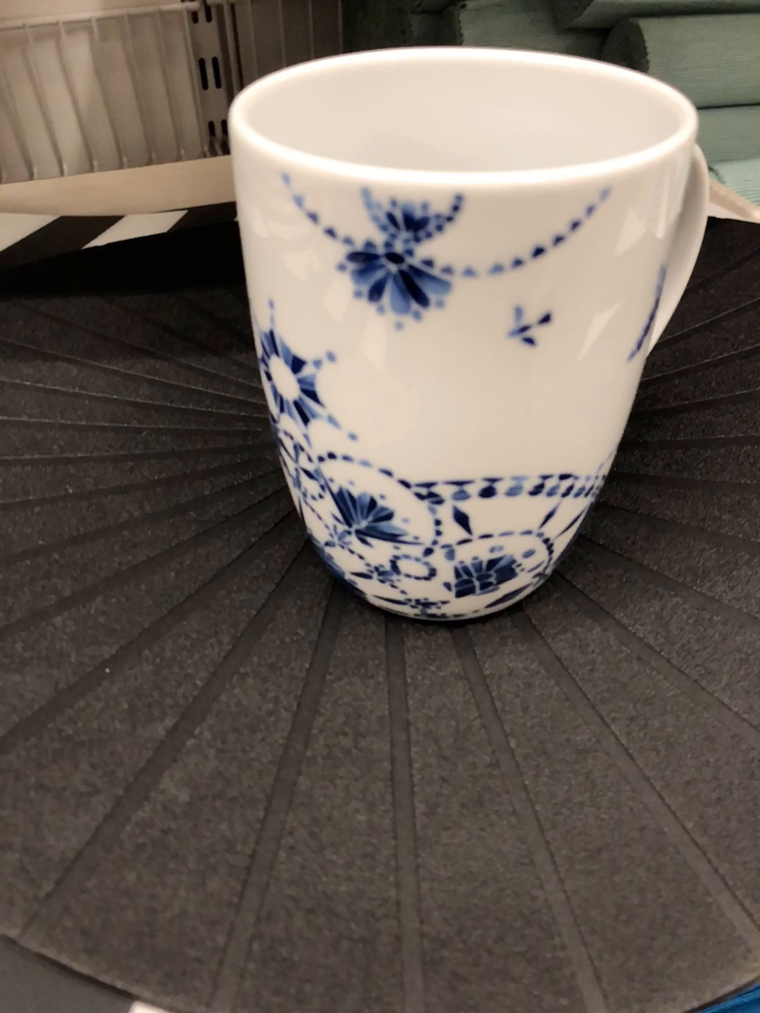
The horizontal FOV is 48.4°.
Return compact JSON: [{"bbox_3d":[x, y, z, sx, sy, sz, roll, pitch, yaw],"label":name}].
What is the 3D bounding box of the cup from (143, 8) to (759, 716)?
[{"bbox_3d":[0.033,-0.045,0.199,0.130,0.100,0.100,-21,44,-21],"label":"cup"}]
